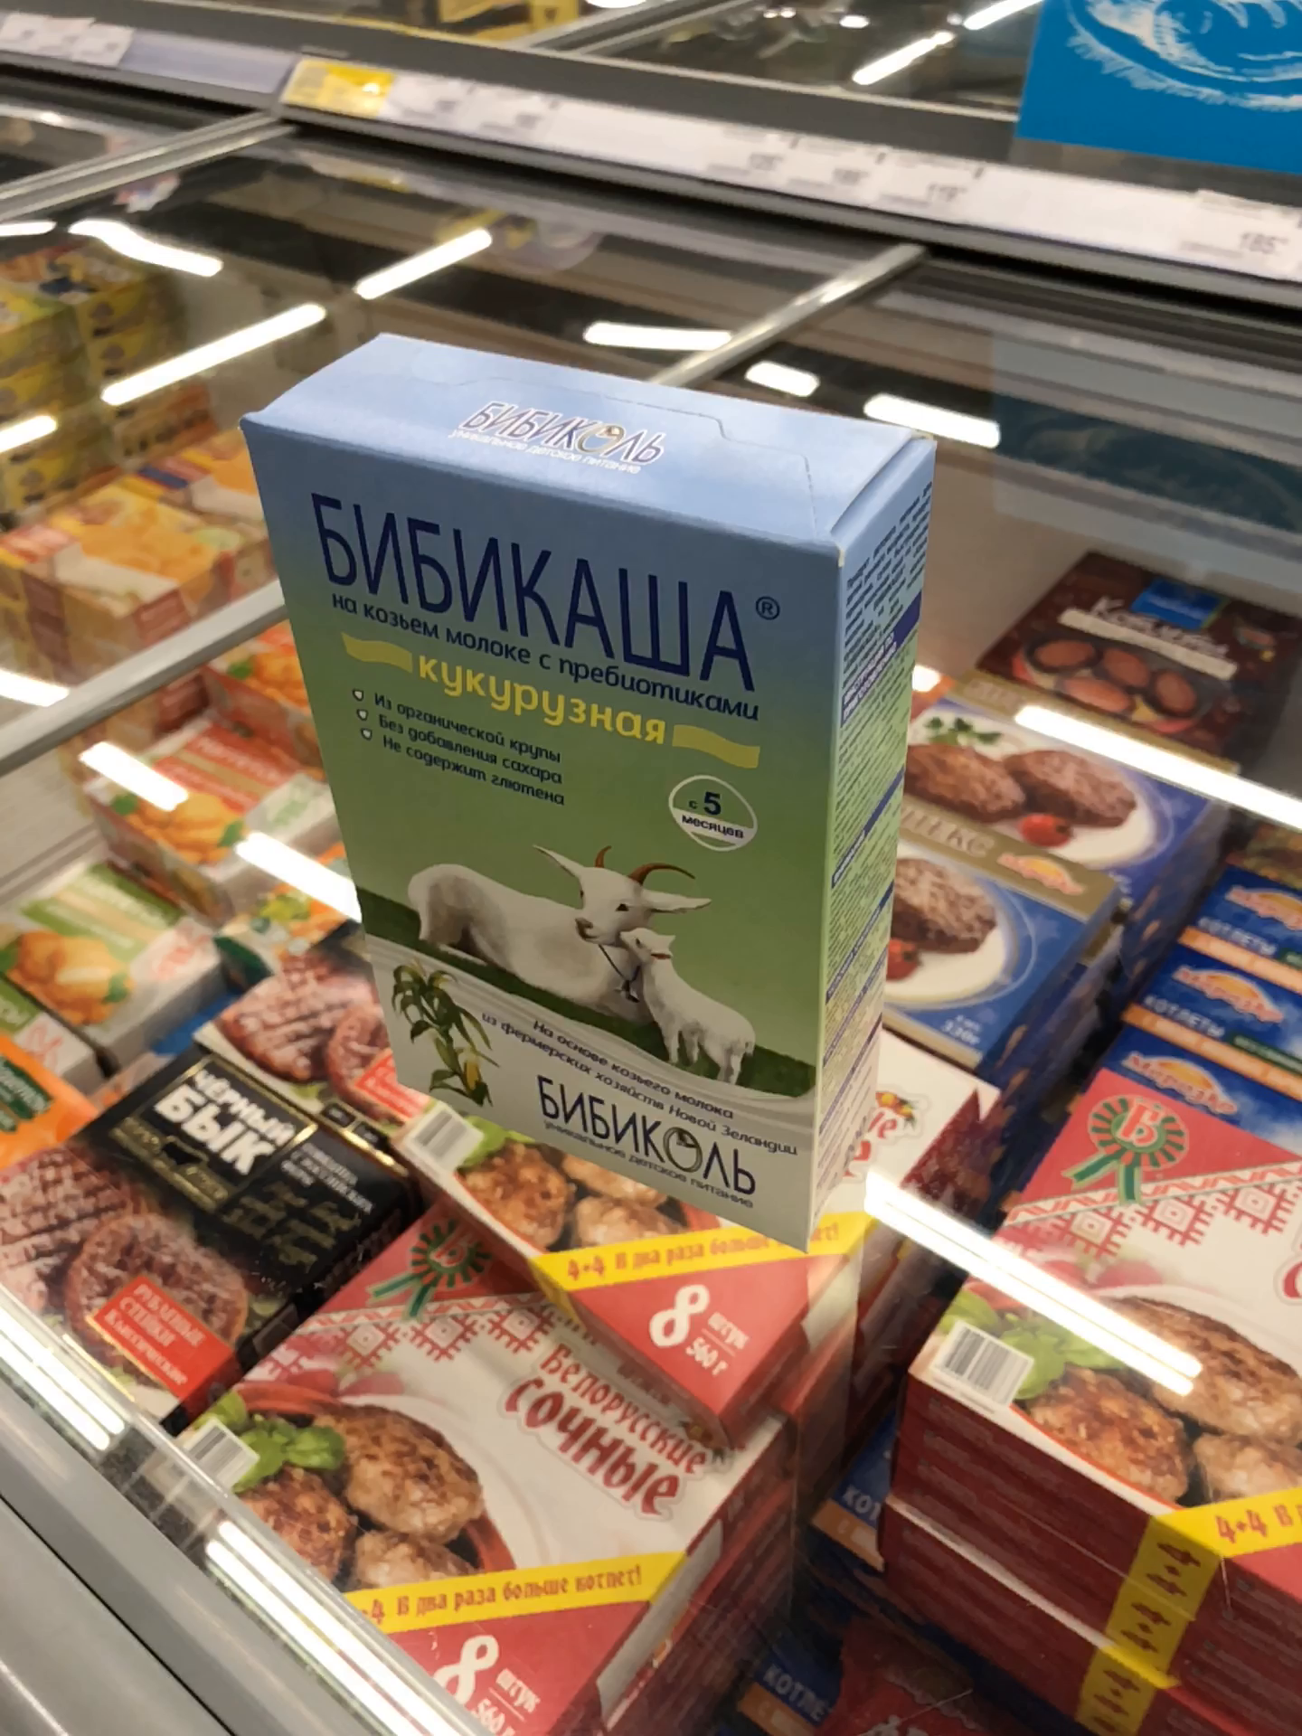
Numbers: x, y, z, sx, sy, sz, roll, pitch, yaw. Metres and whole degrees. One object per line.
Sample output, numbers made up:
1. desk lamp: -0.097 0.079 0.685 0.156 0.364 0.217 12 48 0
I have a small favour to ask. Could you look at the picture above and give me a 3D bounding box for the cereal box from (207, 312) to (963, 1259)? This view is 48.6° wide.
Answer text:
1. cereal box: -0.011 -0.013 0.341 0.140 0.199 0.050 18 45 24
